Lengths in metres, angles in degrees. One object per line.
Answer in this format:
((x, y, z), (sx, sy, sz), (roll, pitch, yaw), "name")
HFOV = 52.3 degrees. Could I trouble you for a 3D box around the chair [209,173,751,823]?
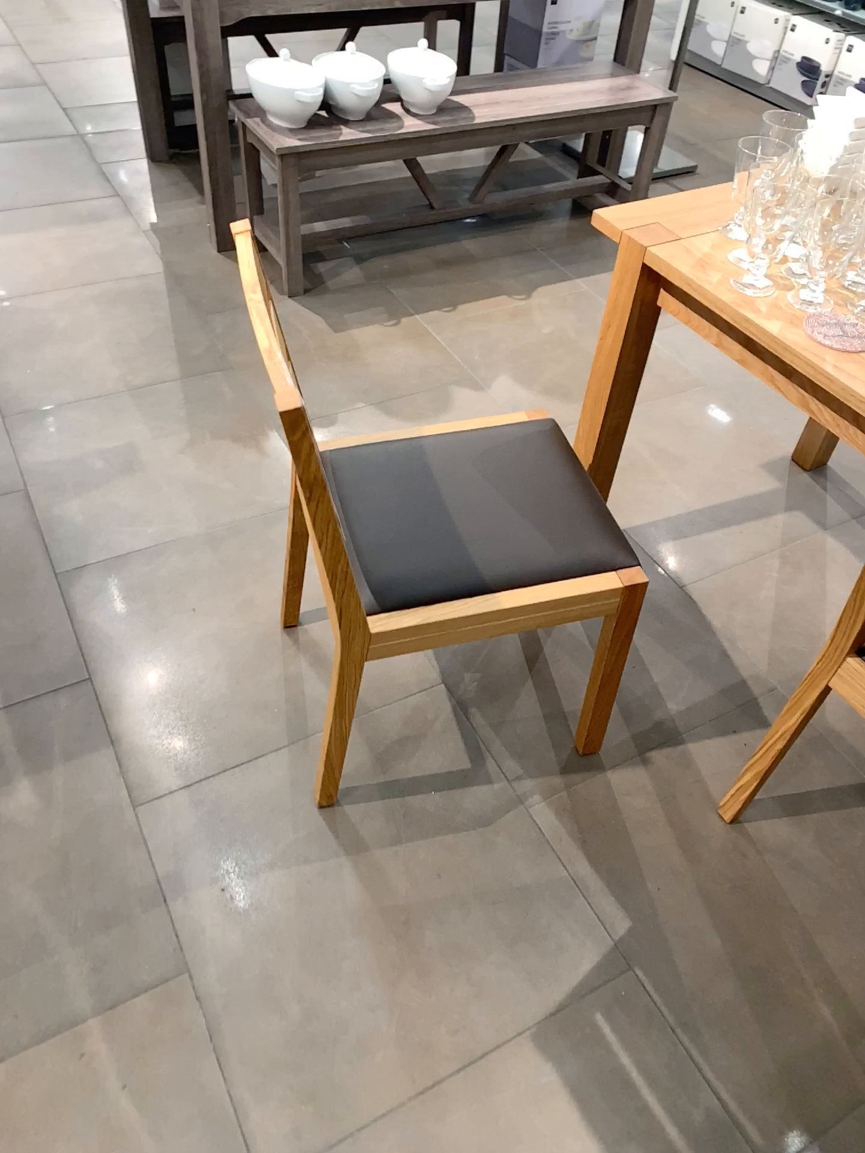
((-0.004, -0.116, 1.429), (0.564, 0.815, 0.567), (-8, 46, -13), "chair")
